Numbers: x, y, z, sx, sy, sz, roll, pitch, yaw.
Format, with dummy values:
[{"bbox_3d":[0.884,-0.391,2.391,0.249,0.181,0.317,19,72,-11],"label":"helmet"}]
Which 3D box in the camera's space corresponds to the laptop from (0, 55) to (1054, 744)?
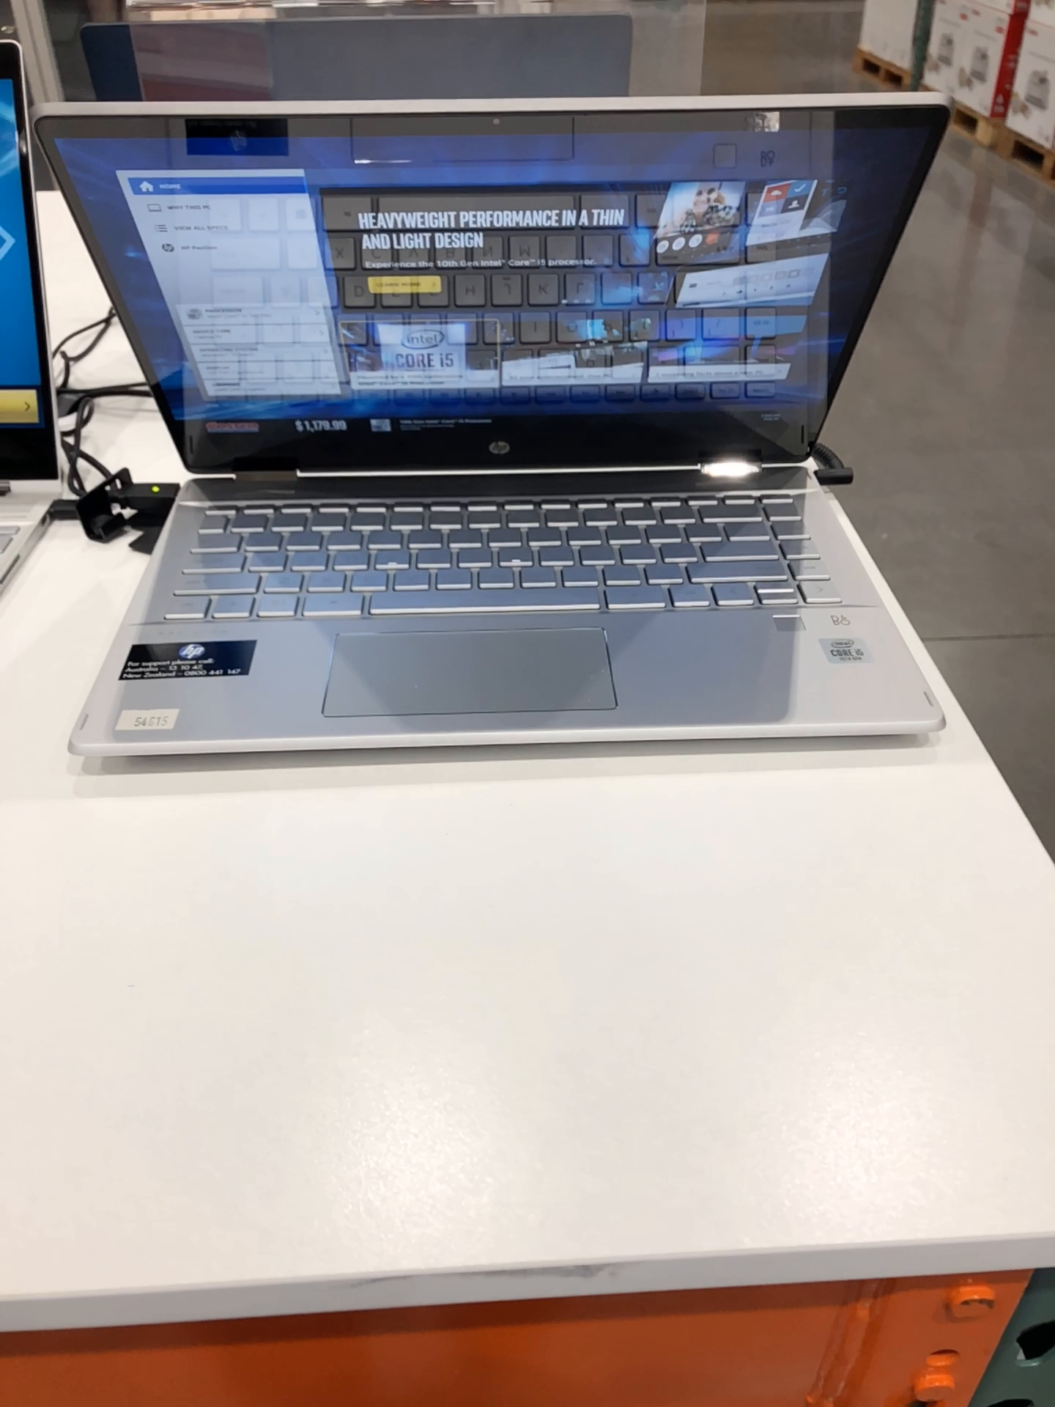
[{"bbox_3d":[-0.012,-0.127,0.453,0.317,0.185,0.207,-2,37,0],"label":"laptop"}]
